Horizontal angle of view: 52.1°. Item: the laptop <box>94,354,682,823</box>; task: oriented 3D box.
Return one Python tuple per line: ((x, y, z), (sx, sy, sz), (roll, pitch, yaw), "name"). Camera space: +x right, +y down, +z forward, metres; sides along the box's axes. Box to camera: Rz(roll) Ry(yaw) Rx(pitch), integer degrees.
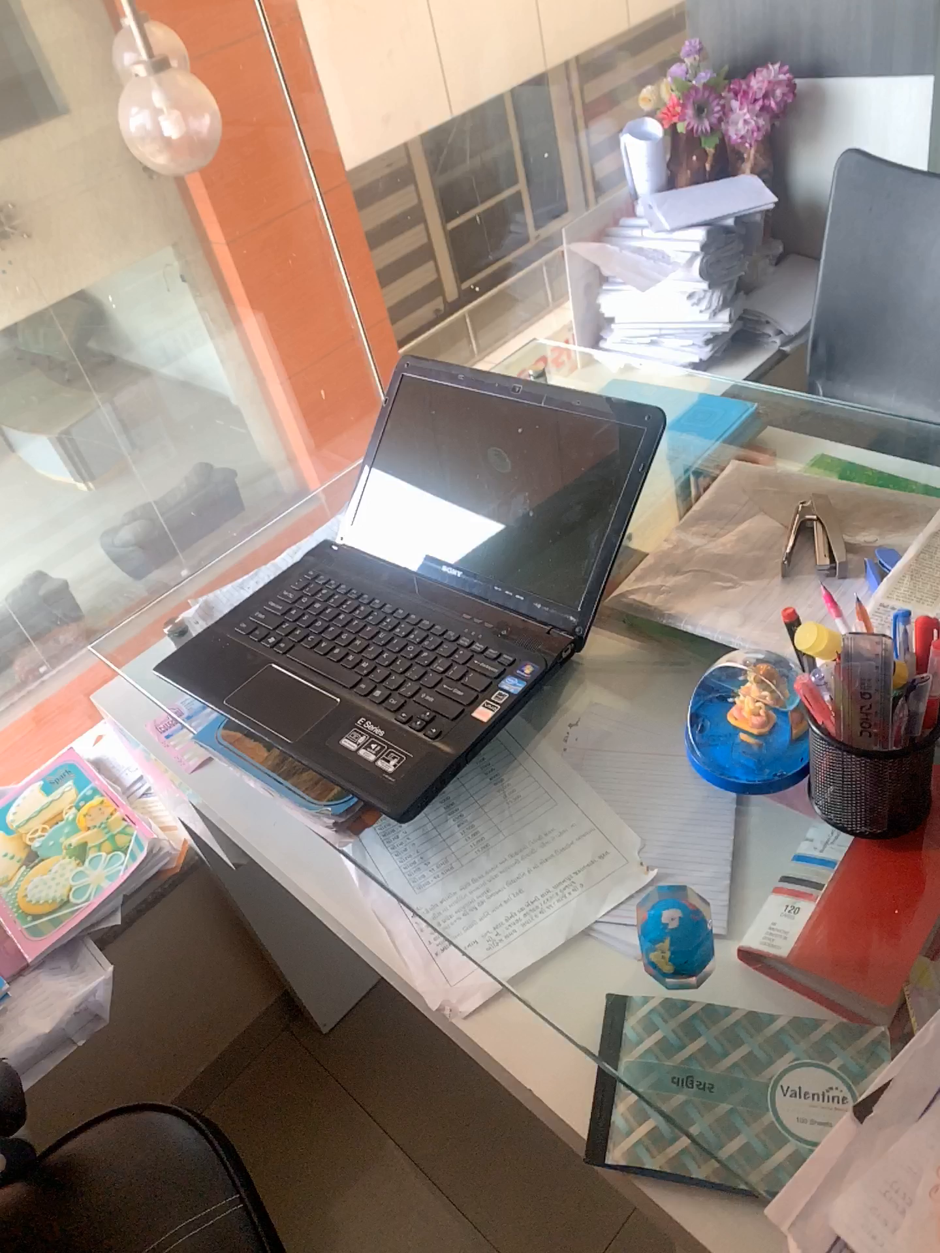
((-0.054, -0.062, 0.742), (0.286, 0.111, 0.336), (23, 53, 37), "laptop")
